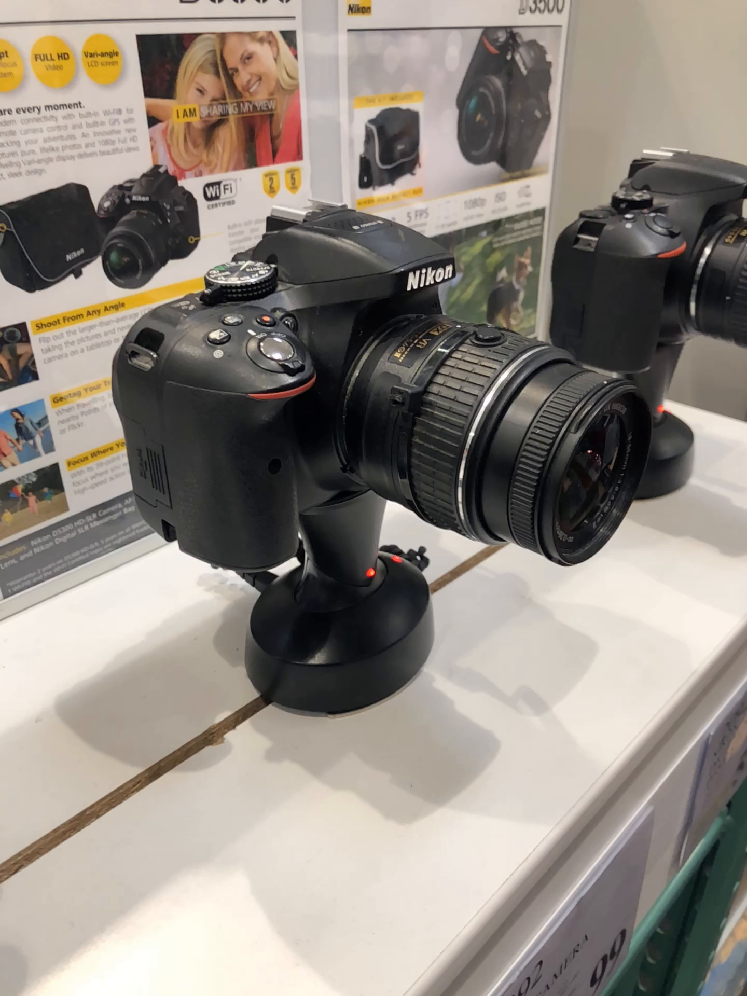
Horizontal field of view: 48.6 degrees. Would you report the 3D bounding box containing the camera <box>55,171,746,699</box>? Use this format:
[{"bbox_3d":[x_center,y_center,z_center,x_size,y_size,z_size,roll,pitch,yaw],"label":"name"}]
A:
[{"bbox_3d":[0.008,-0.040,0.258,0.151,0.089,0.130,23,36,36],"label":"camera"}]
